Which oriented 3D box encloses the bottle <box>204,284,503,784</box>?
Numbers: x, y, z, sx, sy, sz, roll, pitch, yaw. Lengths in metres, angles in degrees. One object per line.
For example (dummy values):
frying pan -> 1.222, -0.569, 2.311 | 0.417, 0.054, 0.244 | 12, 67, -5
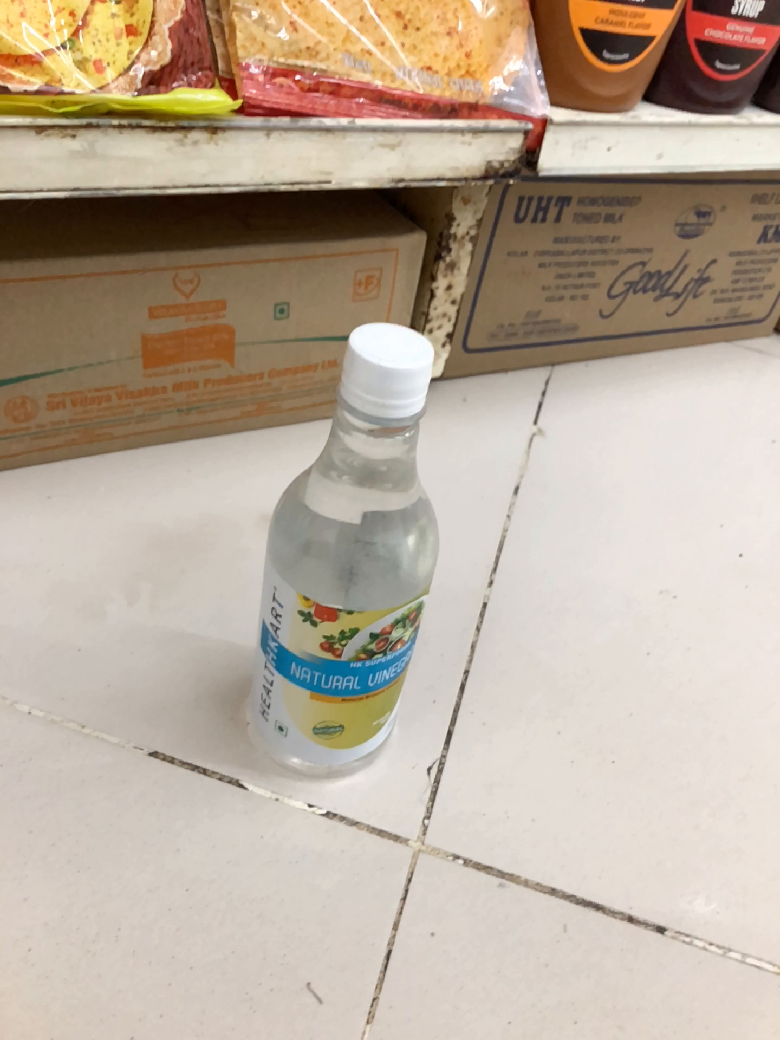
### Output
bottle -> -0.028, 0.016, 0.371 | 0.090, 0.199, 0.091 | 7, 39, -6
